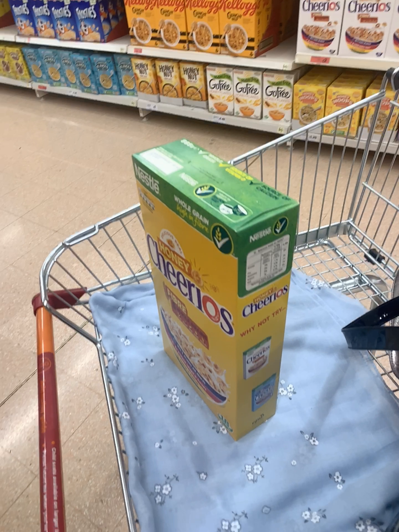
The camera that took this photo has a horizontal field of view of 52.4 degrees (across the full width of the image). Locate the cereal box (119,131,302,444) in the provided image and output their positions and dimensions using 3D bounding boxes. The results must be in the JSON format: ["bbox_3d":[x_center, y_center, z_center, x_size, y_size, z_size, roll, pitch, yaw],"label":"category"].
[{"bbox_3d":[0.009,0.038,0.521,0.080,0.347,0.212,-25,44,-23],"label":"cereal box"}]
